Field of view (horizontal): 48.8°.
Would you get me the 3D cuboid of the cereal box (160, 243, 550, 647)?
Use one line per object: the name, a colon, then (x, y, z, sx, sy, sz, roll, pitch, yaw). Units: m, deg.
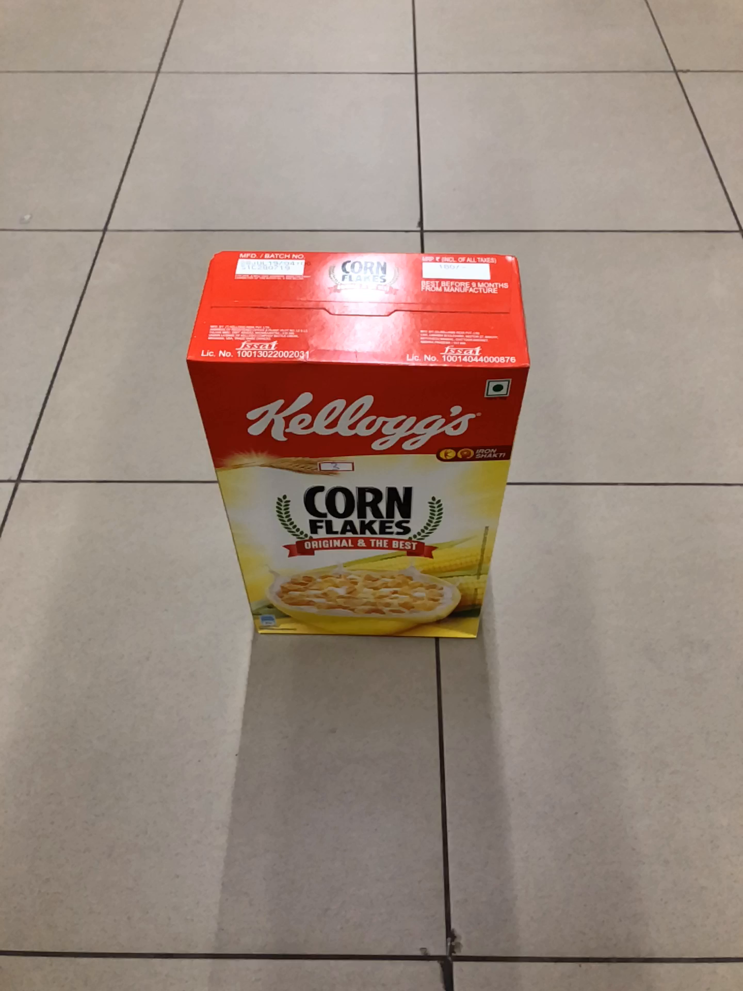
cereal box: (-0.006, -0.012, 0.578, 0.200, 0.318, 0.101, 1, 53, 1)
